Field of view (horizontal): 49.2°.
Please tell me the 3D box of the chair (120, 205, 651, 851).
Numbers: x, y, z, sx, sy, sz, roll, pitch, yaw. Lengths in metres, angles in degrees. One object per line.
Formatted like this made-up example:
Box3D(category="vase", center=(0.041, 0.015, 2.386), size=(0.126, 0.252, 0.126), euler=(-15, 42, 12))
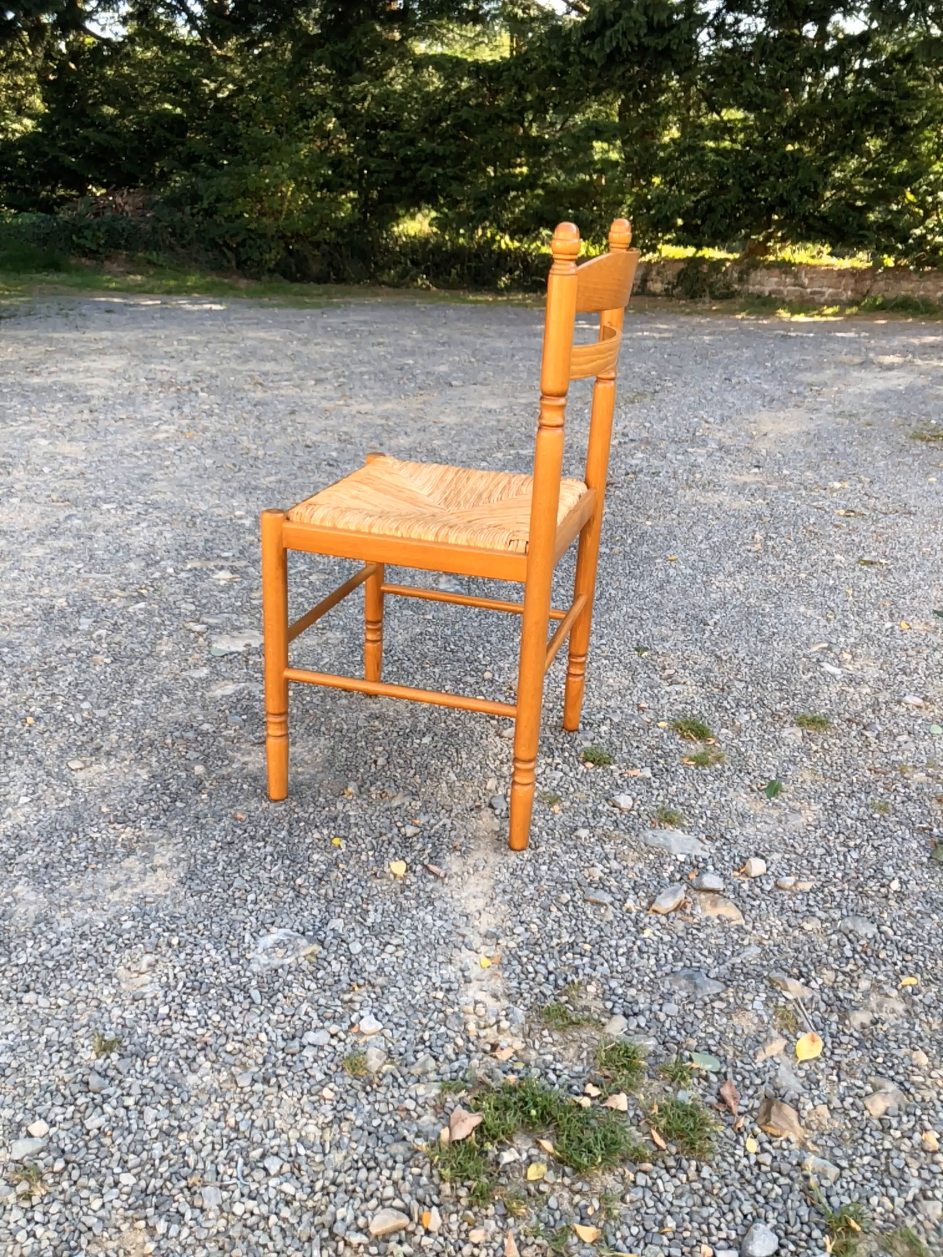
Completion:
Box3D(category="chair", center=(-0.062, -0.185, 1.437), size=(0.520, 0.736, 0.513), euler=(6, 24, 15))
